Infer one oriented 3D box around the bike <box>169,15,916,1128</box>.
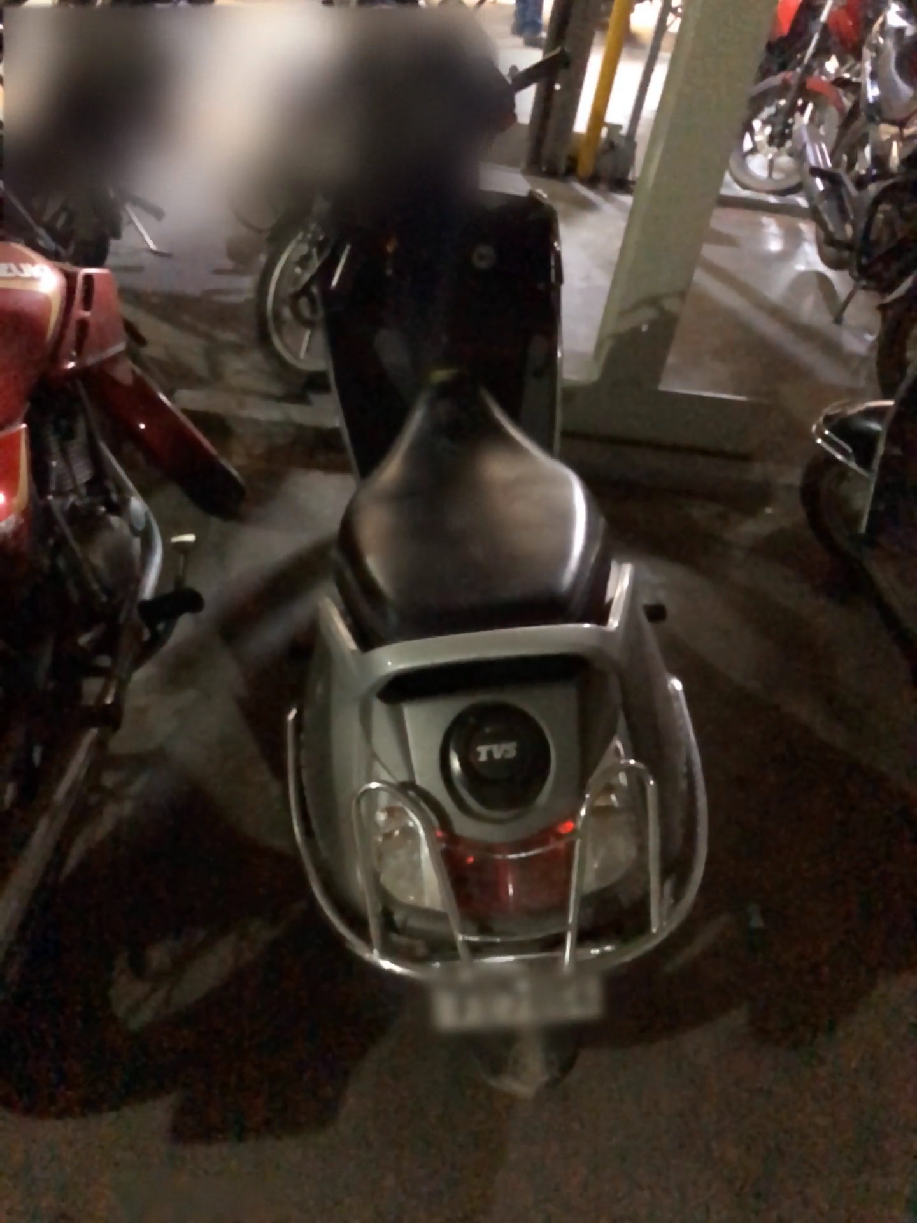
[{"bbox_3d":[-0.035,-0.146,1.607,0.602,1.094,1.388,3,40,-9],"label":"bike"}]
